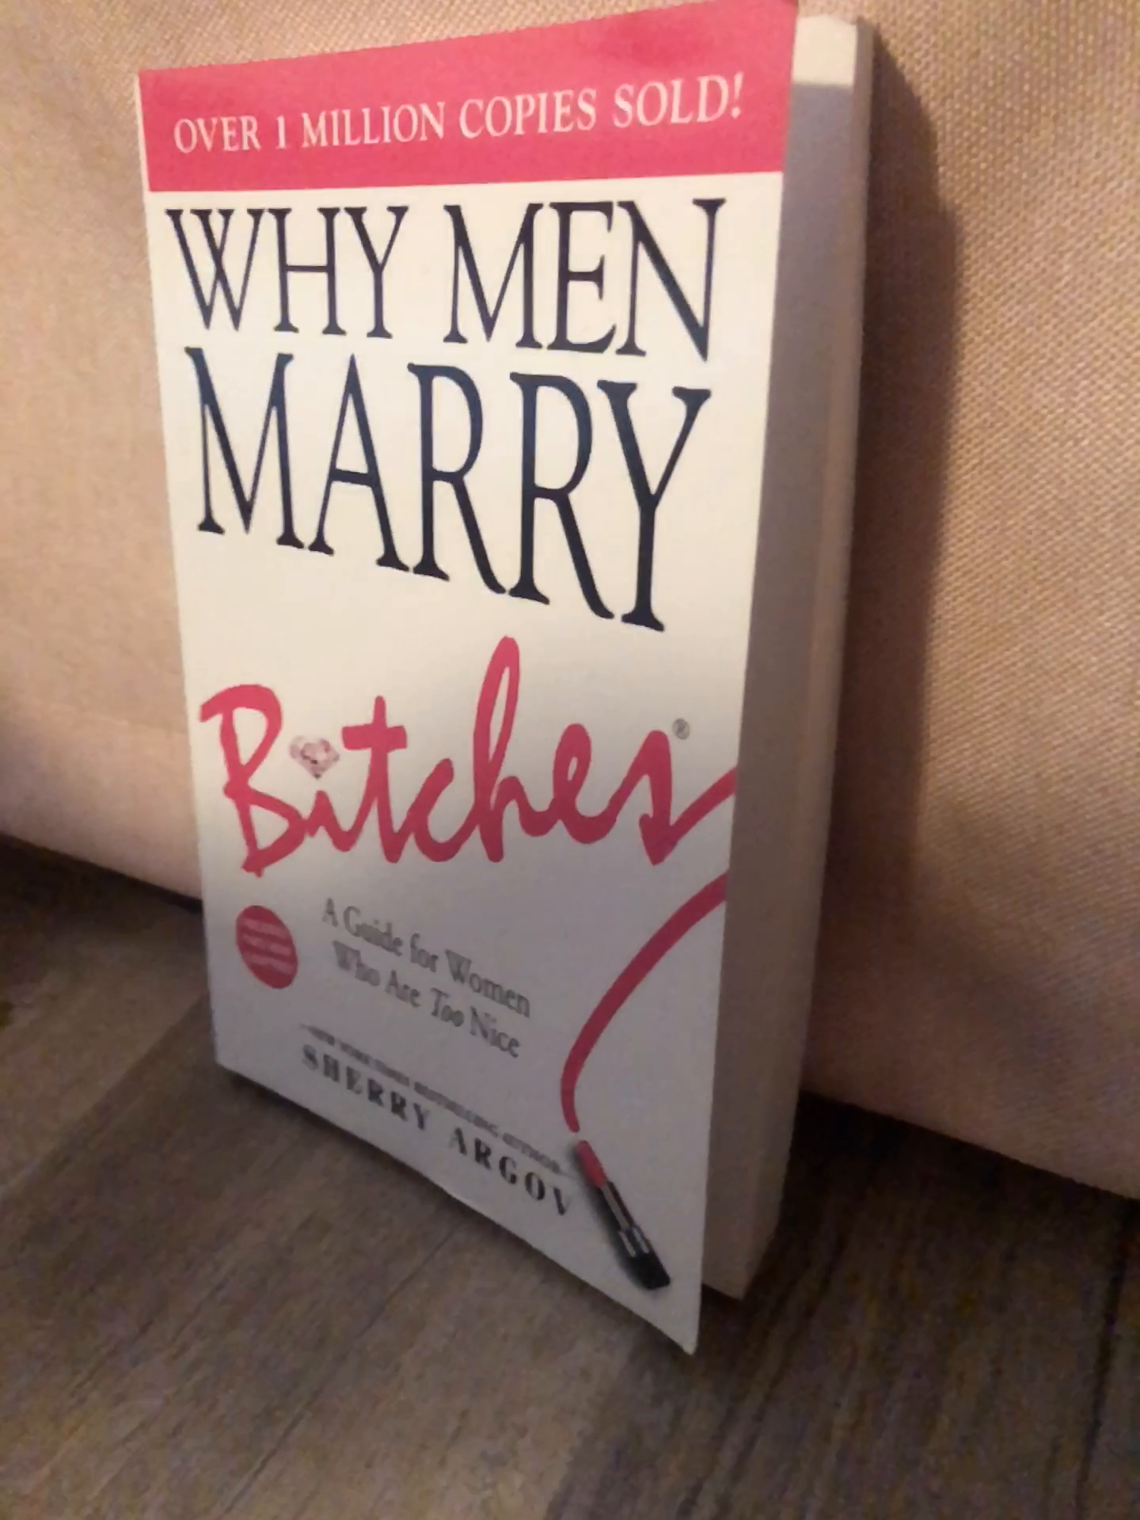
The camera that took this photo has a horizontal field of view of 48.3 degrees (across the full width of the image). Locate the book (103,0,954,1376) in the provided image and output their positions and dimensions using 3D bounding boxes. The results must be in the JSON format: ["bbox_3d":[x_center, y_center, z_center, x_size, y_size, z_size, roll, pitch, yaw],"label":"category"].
[{"bbox_3d":[-0.020,-0.014,0.247,0.150,0.219,0.037,17,26,34],"label":"book"}]
